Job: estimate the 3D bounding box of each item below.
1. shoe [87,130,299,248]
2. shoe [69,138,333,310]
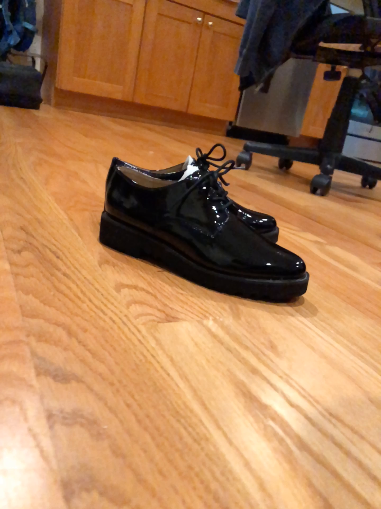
[{"bbox_3d":[-0.001,-0.088,0.564,0.251,0.102,0.095,7,21,-10],"label":"shoe"},{"bbox_3d":[0.005,-0.047,0.449,0.251,0.102,0.095,18,22,20],"label":"shoe"}]
